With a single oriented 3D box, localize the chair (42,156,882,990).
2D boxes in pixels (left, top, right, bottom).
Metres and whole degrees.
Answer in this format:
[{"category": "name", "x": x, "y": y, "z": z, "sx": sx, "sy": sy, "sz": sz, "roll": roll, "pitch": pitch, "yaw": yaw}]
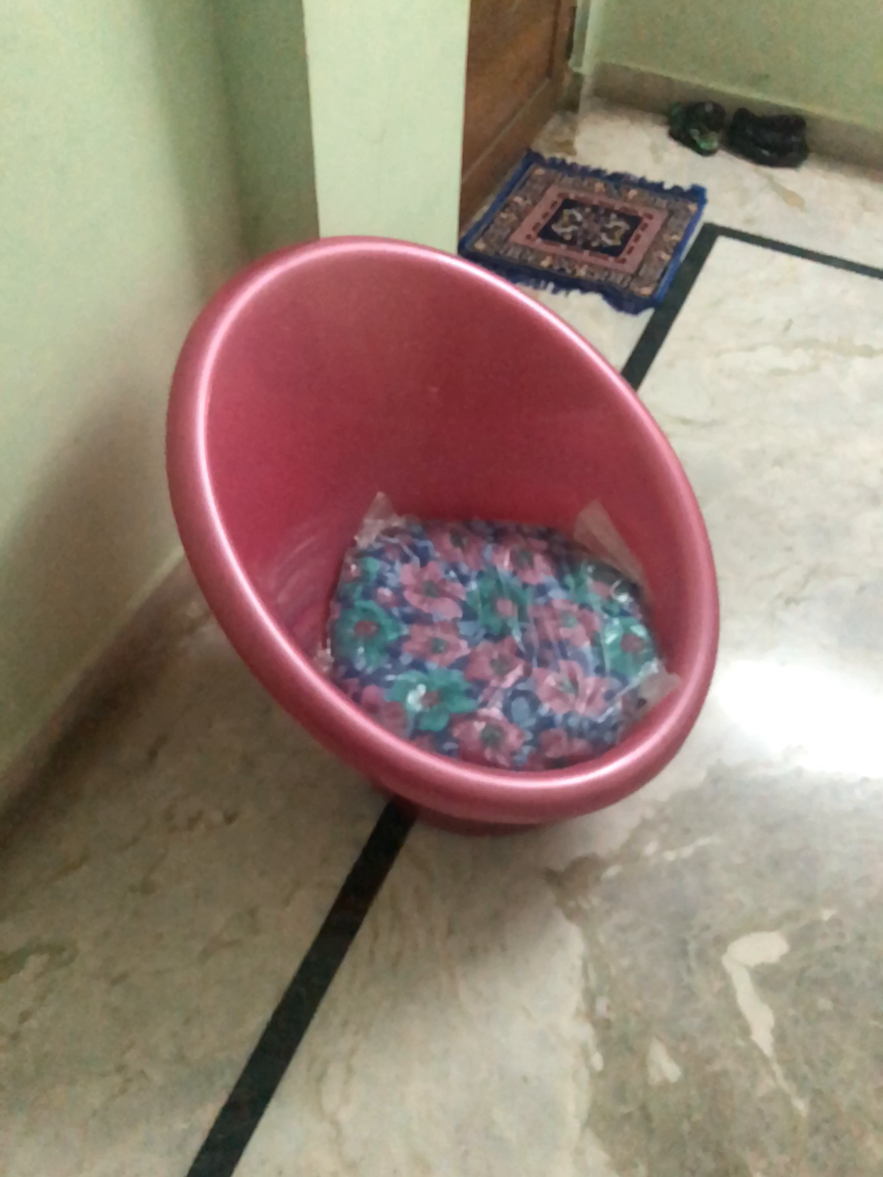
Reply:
[{"category": "chair", "x": 0.020, "y": -0.051, "z": 1.241, "sx": 0.642, "sy": 0.547, "sz": 0.662, "roll": -32, "pitch": 59, "yaw": -24}]
